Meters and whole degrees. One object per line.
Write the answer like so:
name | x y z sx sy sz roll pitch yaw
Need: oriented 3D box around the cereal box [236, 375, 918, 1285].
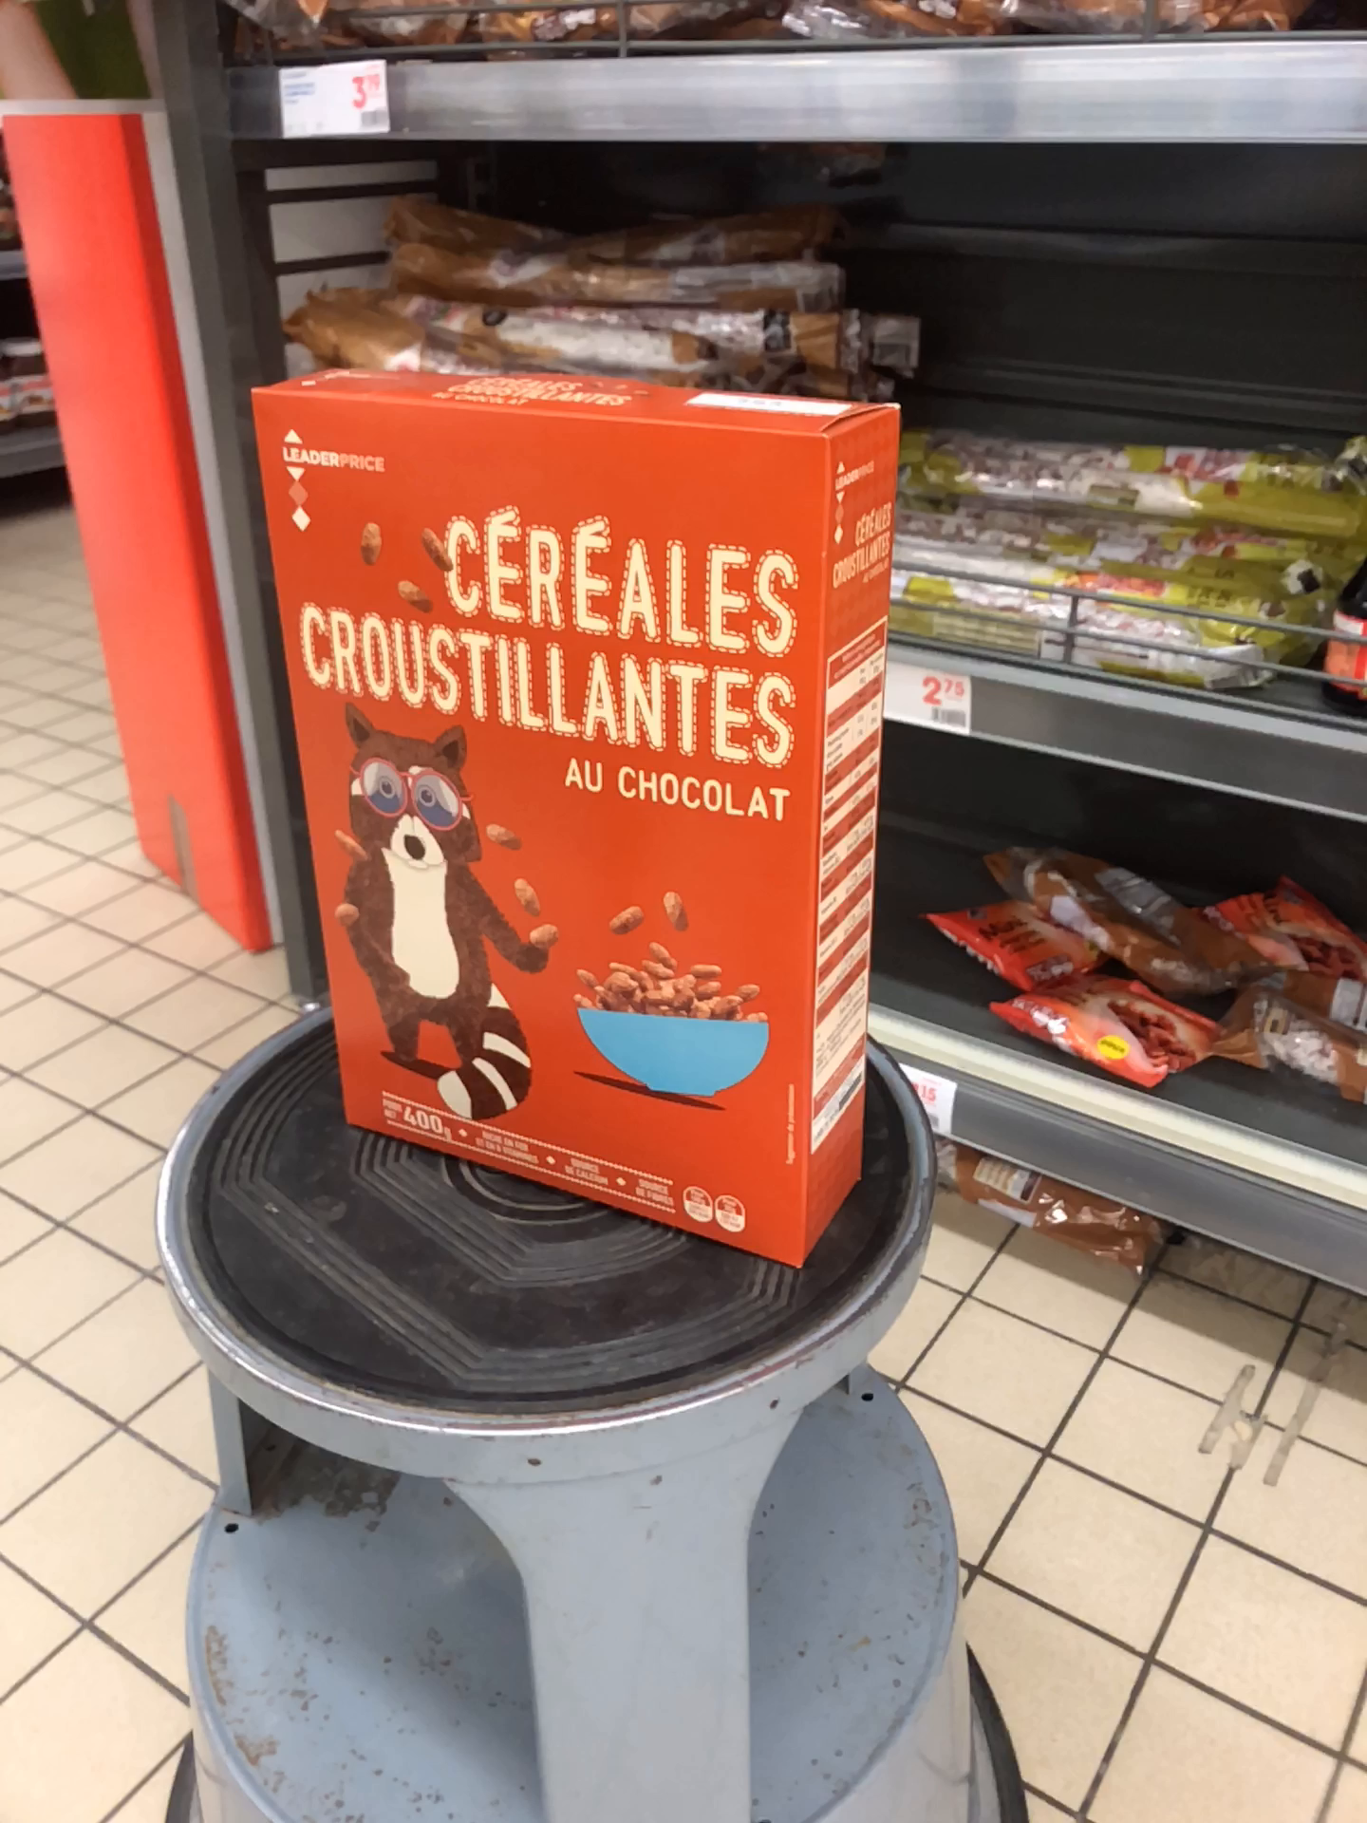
cereal box | -0.033 -0.027 0.487 0.190 0.258 0.060 13 30 24
